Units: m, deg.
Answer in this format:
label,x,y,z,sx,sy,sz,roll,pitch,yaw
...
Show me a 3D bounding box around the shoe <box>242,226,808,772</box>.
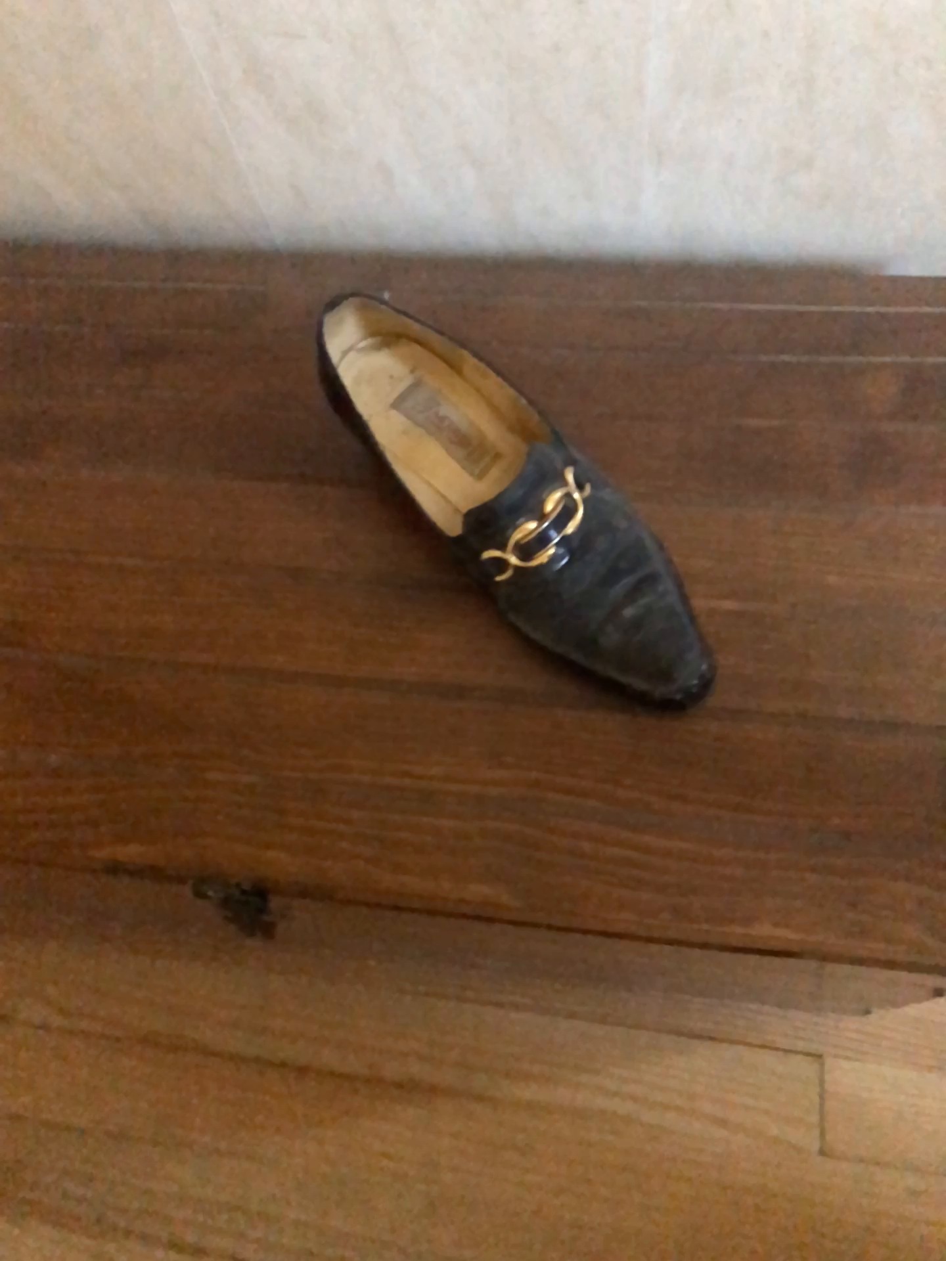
label,x,y,z,sx,sy,sz,roll,pitch,yaw
shoe,0.019,-0.059,0.479,0.090,0.100,0.240,-45,72,-8
